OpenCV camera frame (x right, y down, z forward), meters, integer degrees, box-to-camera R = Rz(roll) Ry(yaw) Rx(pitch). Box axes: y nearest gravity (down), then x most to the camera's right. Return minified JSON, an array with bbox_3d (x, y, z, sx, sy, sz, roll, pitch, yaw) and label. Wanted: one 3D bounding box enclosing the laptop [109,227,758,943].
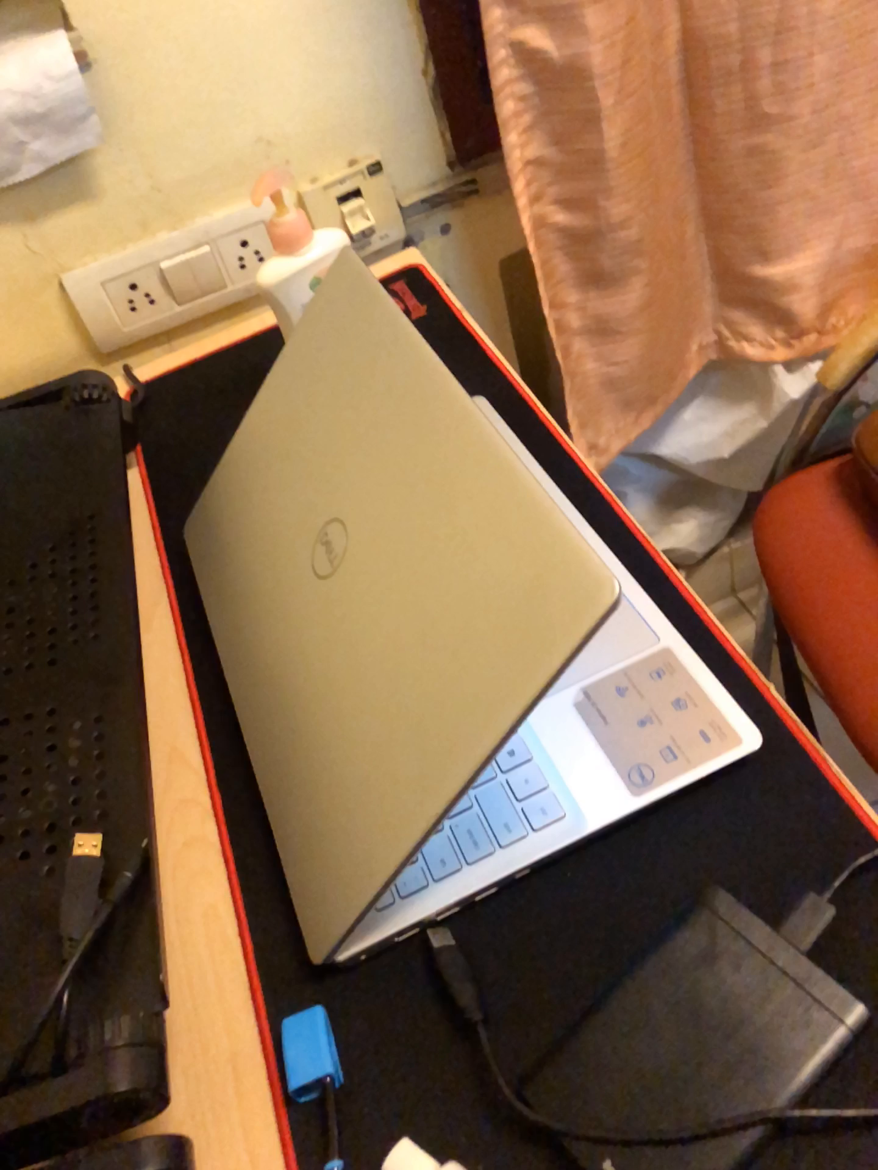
[{"bbox_3d":[-0.022,-0.032,0.540,0.218,0.140,0.352,-25,46,-7],"label":"laptop"}]
